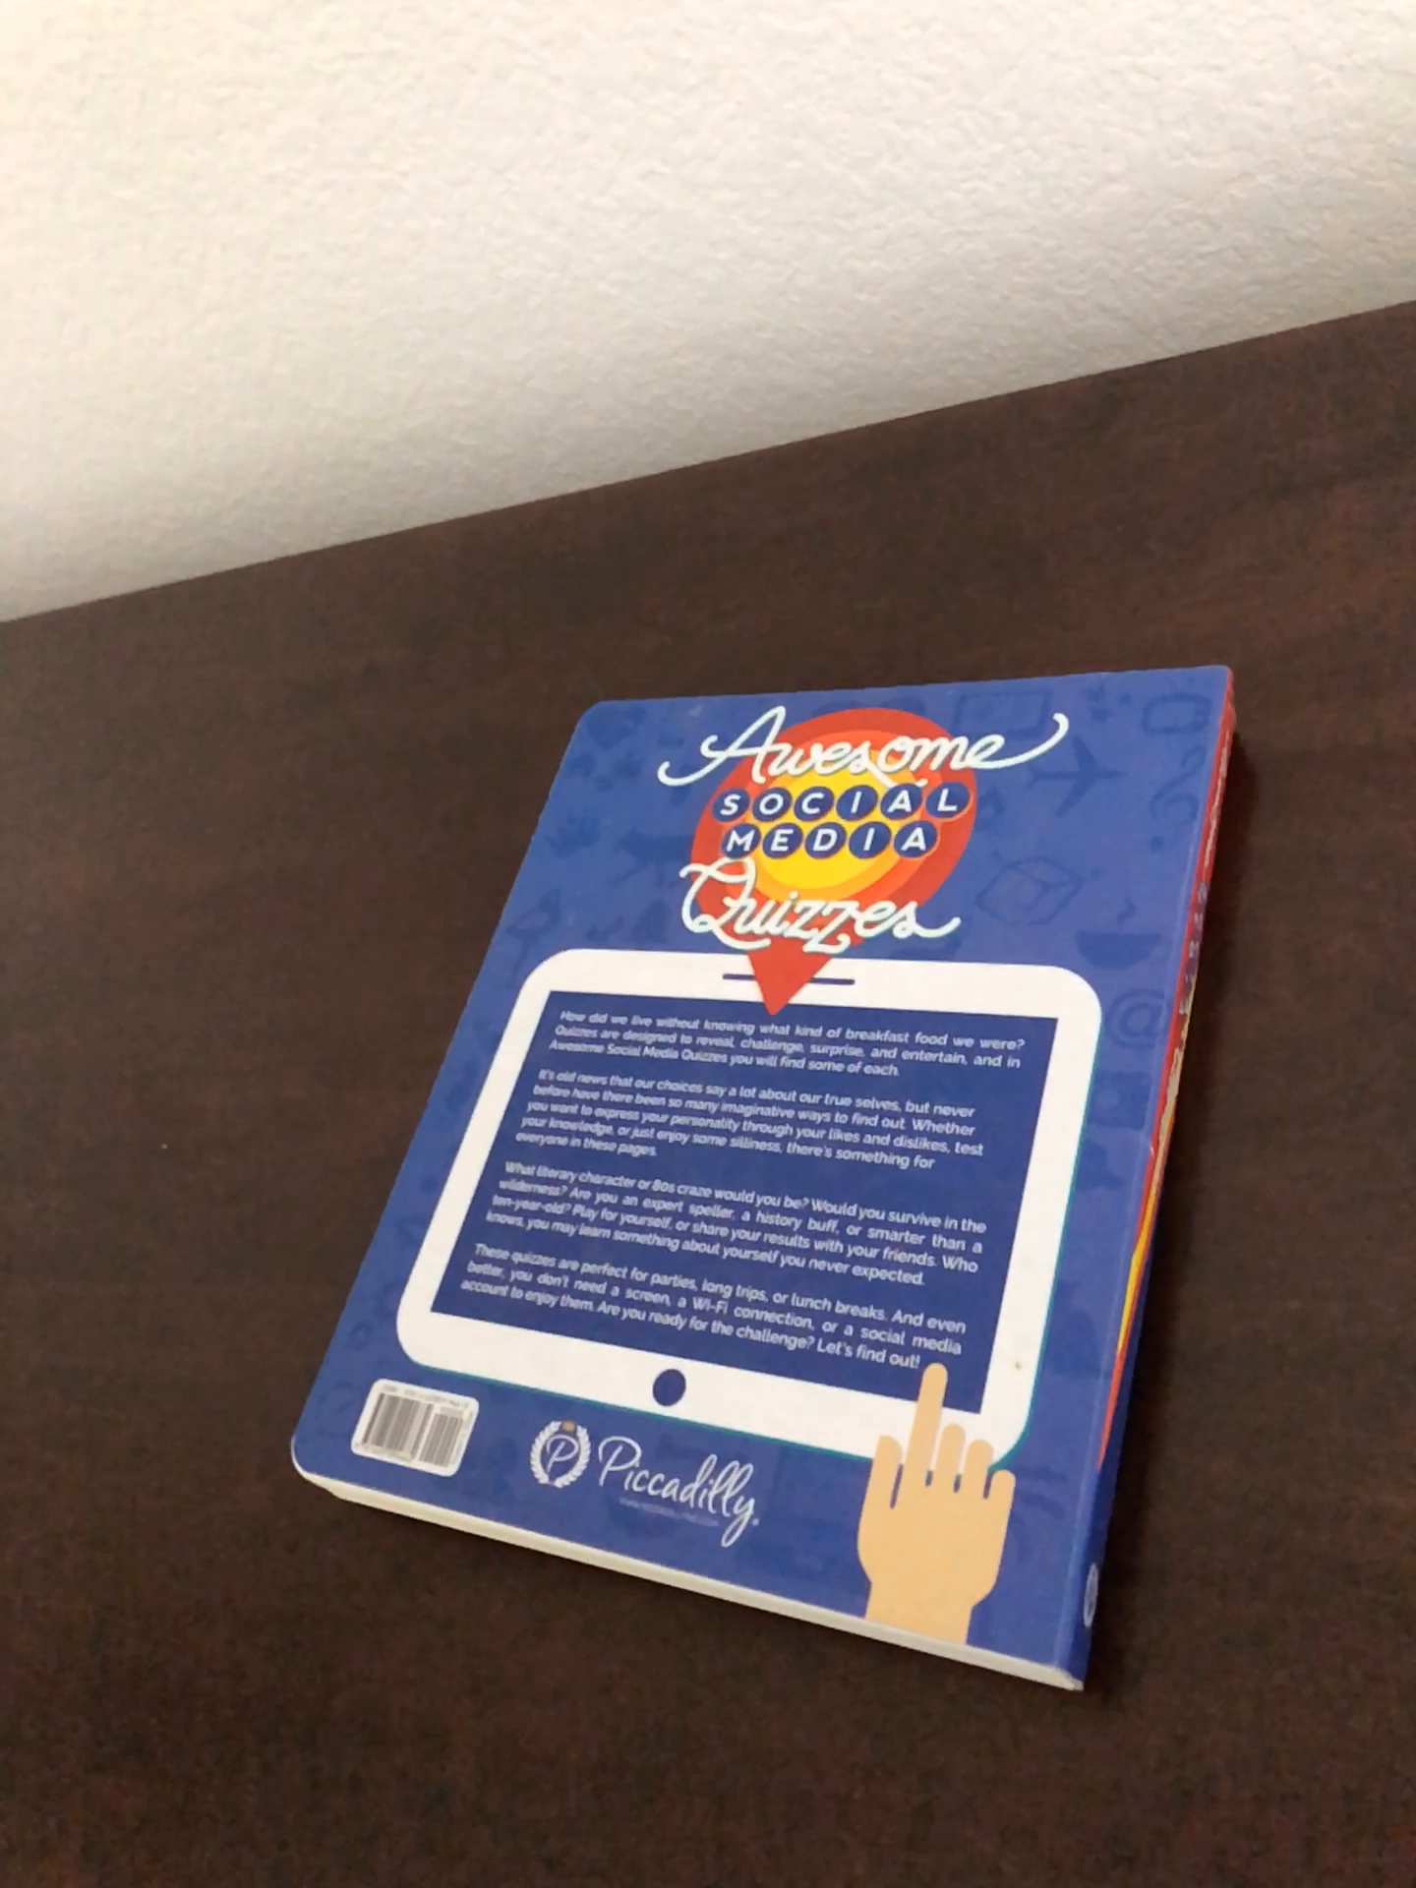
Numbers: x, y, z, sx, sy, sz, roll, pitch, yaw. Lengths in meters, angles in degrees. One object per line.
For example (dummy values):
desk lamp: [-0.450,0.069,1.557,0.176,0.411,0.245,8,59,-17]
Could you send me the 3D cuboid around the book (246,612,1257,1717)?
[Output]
book: [0.015,0.027,0.340,0.173,0.030,0.215,2,60,29]
